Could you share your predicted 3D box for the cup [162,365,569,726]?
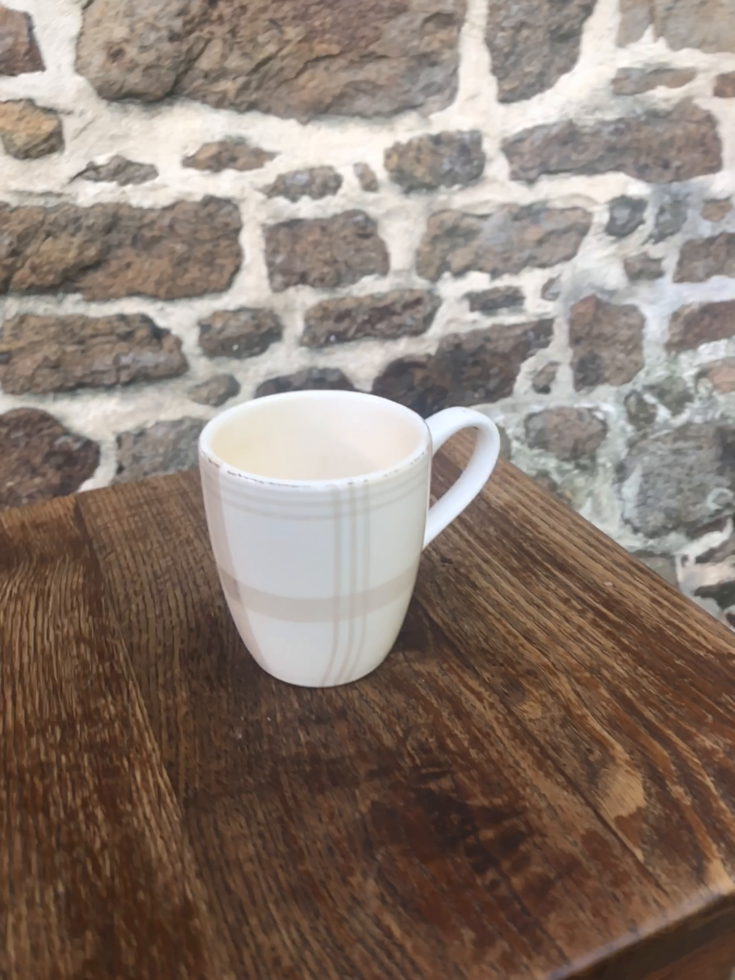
[{"bbox_3d":[-0.001,0.012,0.320,0.125,0.078,0.088,-17,32,-26],"label":"cup"}]
